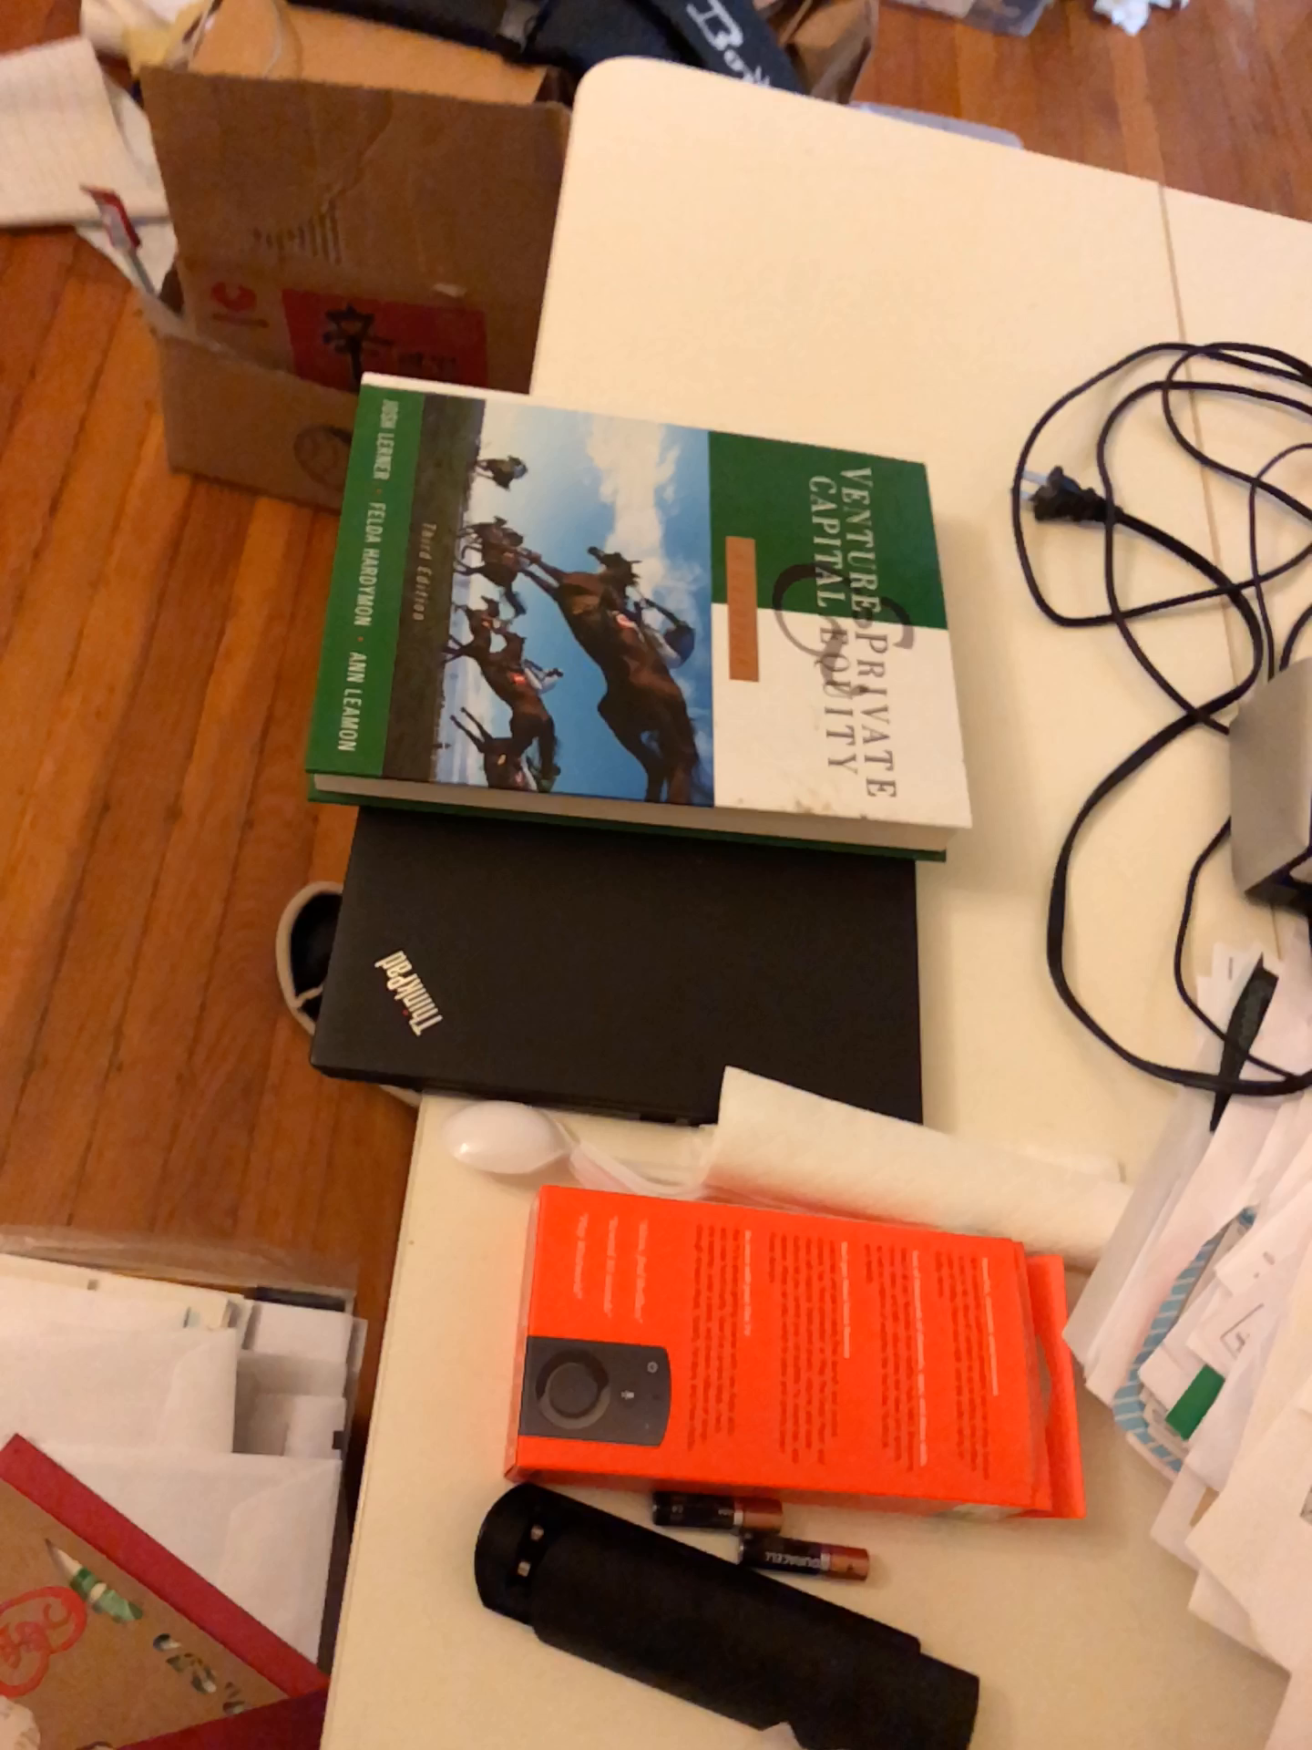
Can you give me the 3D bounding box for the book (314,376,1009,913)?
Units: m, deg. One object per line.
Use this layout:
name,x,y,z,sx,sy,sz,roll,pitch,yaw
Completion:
book,0.006,-0.101,0.618,0.270,0.030,0.221,6,61,-10
